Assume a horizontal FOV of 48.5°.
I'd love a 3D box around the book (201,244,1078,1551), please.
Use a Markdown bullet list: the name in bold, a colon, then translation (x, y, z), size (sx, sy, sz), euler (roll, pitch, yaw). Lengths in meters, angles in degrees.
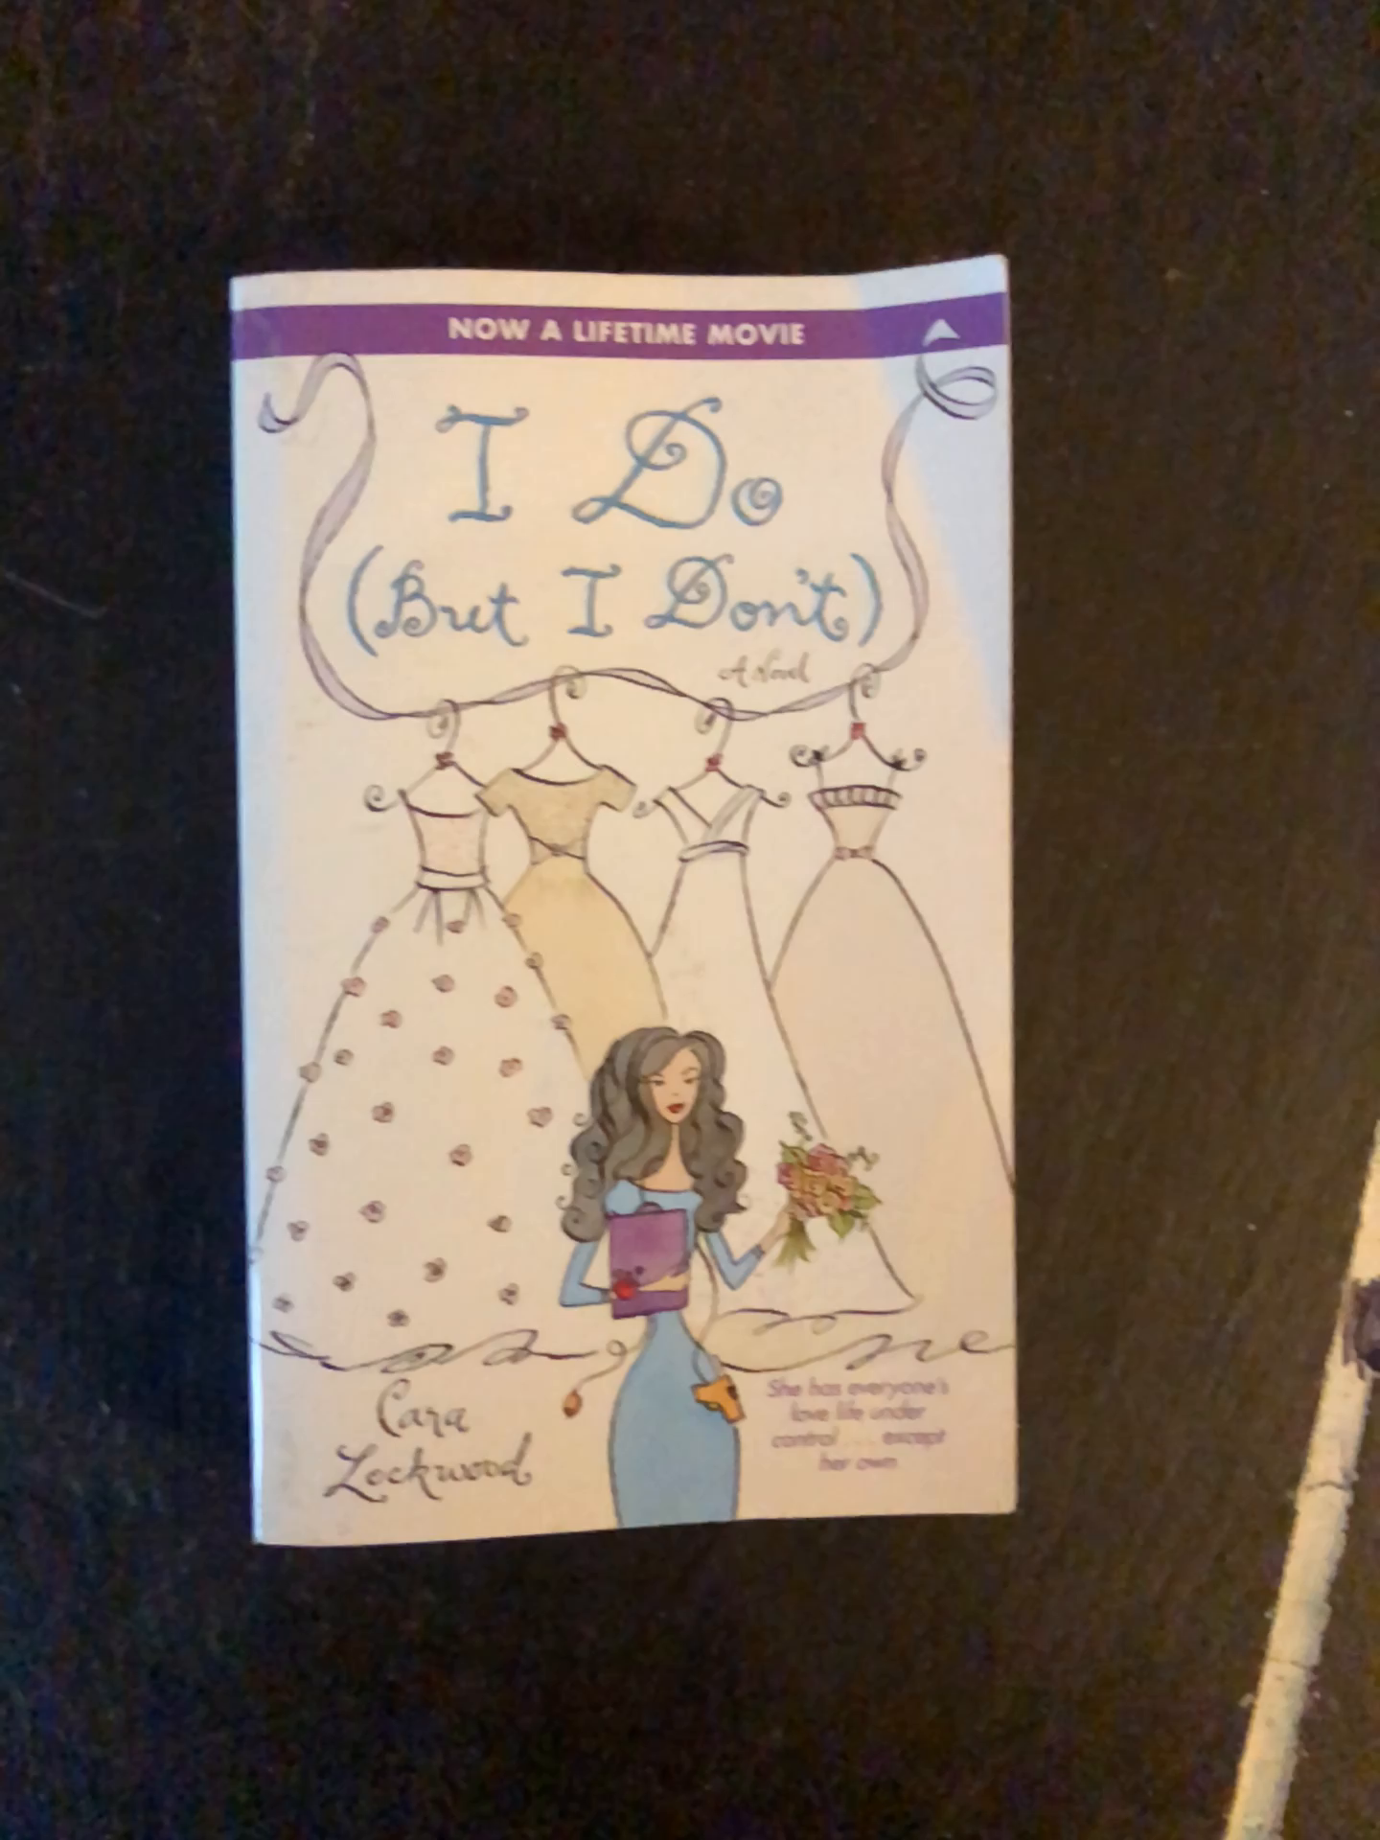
- **book**: translation (-0.006, -0.003, 0.213), size (0.110, 0.033, 0.164), euler (-1, 92, -4)
